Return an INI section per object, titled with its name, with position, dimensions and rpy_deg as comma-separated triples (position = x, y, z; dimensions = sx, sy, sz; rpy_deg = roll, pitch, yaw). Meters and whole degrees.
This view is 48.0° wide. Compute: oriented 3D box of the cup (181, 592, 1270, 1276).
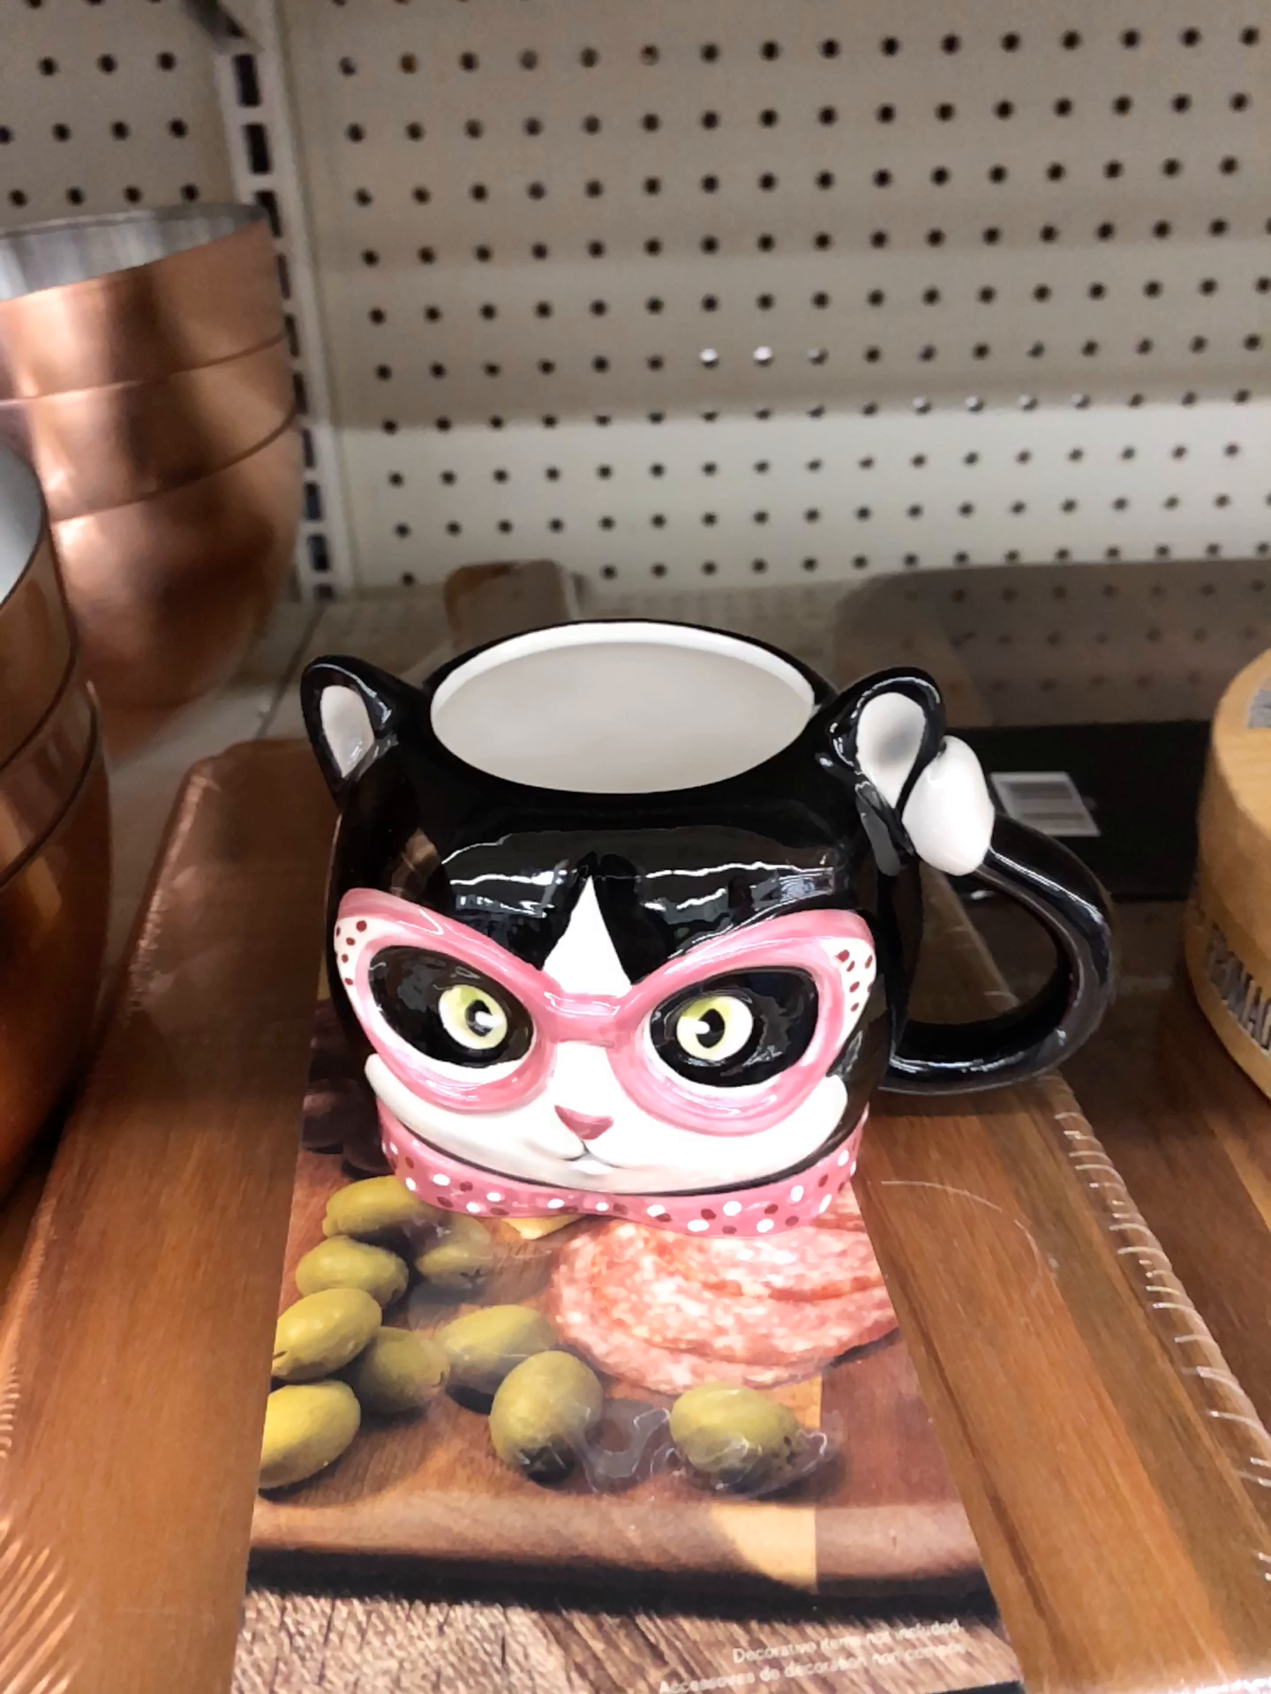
[cup]
position = 0.016, 0.010, 0.248
dimensions = 0.150, 0.080, 0.080
rpy_deg = 2, 32, 7
